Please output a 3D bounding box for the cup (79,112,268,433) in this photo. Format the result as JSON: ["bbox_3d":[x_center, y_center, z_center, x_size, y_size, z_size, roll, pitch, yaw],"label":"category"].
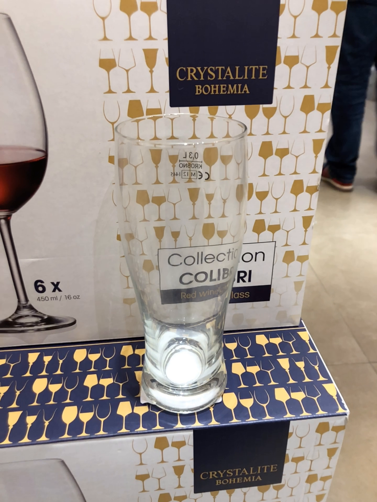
[{"bbox_3d":[-0.006,0.016,0.255,0.080,0.179,0.081,-1,29,0],"label":"cup"}]
